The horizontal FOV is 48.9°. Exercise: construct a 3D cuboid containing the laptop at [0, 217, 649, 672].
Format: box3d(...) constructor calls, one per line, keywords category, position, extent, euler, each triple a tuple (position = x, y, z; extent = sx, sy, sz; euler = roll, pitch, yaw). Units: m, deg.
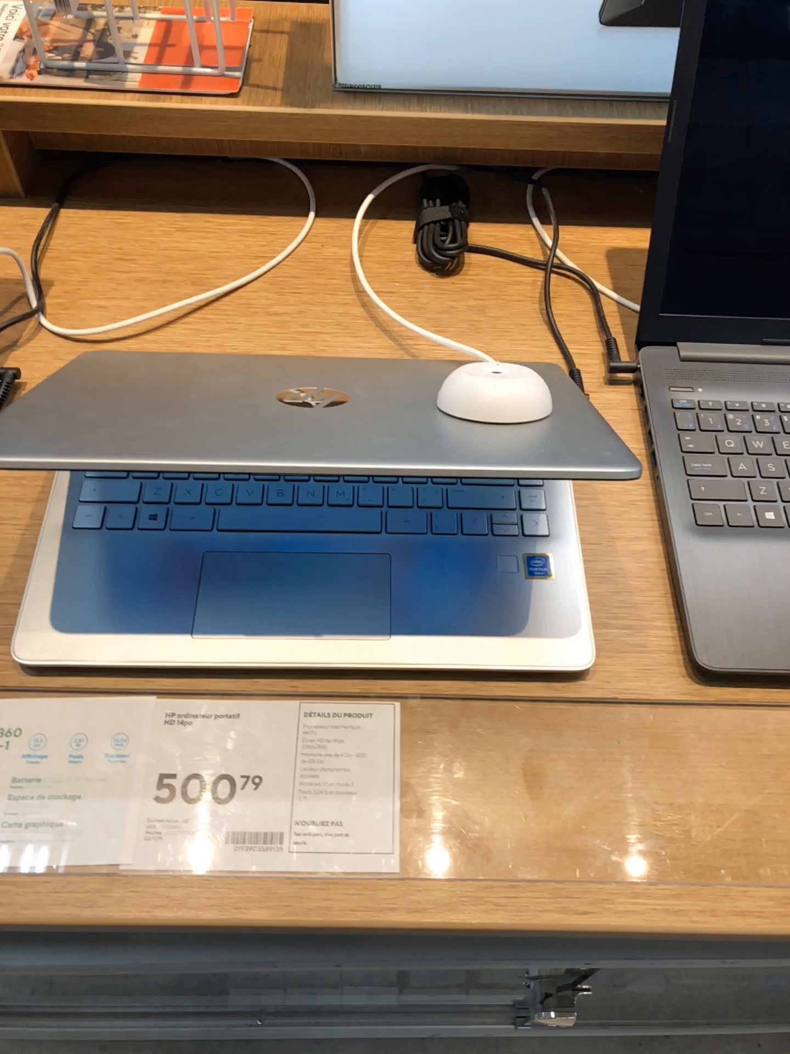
box3d(category="laptop", position=(-0.049, -0.047, 0.478), extent=(0.314, 0.110, 0.217), euler=(1, 59, -1))
